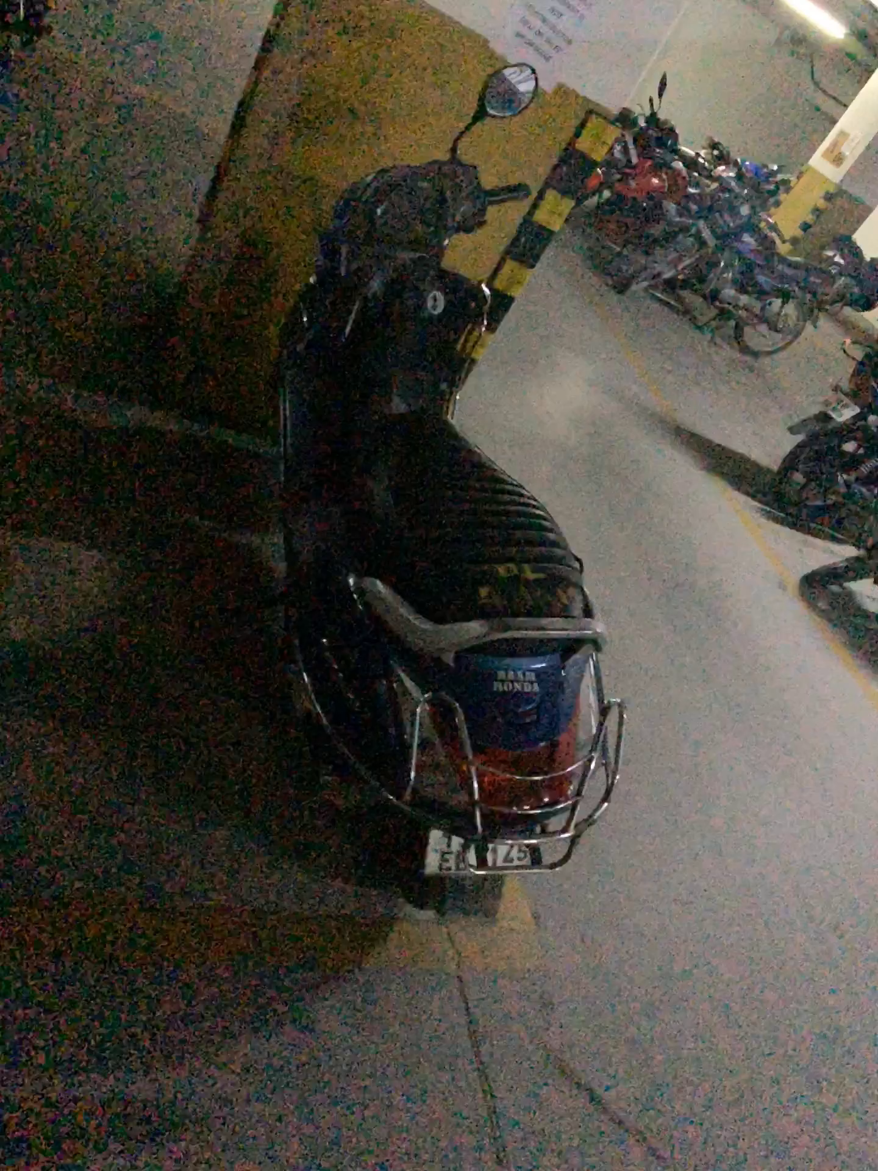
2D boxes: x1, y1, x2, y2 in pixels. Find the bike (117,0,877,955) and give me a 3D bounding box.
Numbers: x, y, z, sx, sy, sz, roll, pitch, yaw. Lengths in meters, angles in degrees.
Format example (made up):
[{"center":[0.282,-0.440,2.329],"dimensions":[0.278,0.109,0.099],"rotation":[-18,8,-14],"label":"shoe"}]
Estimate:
[{"center":[-0.062,-0.253,1.692],"dimensions":[0.633,1.062,1.271],"rotation":[6,48,-37],"label":"bike"}]
